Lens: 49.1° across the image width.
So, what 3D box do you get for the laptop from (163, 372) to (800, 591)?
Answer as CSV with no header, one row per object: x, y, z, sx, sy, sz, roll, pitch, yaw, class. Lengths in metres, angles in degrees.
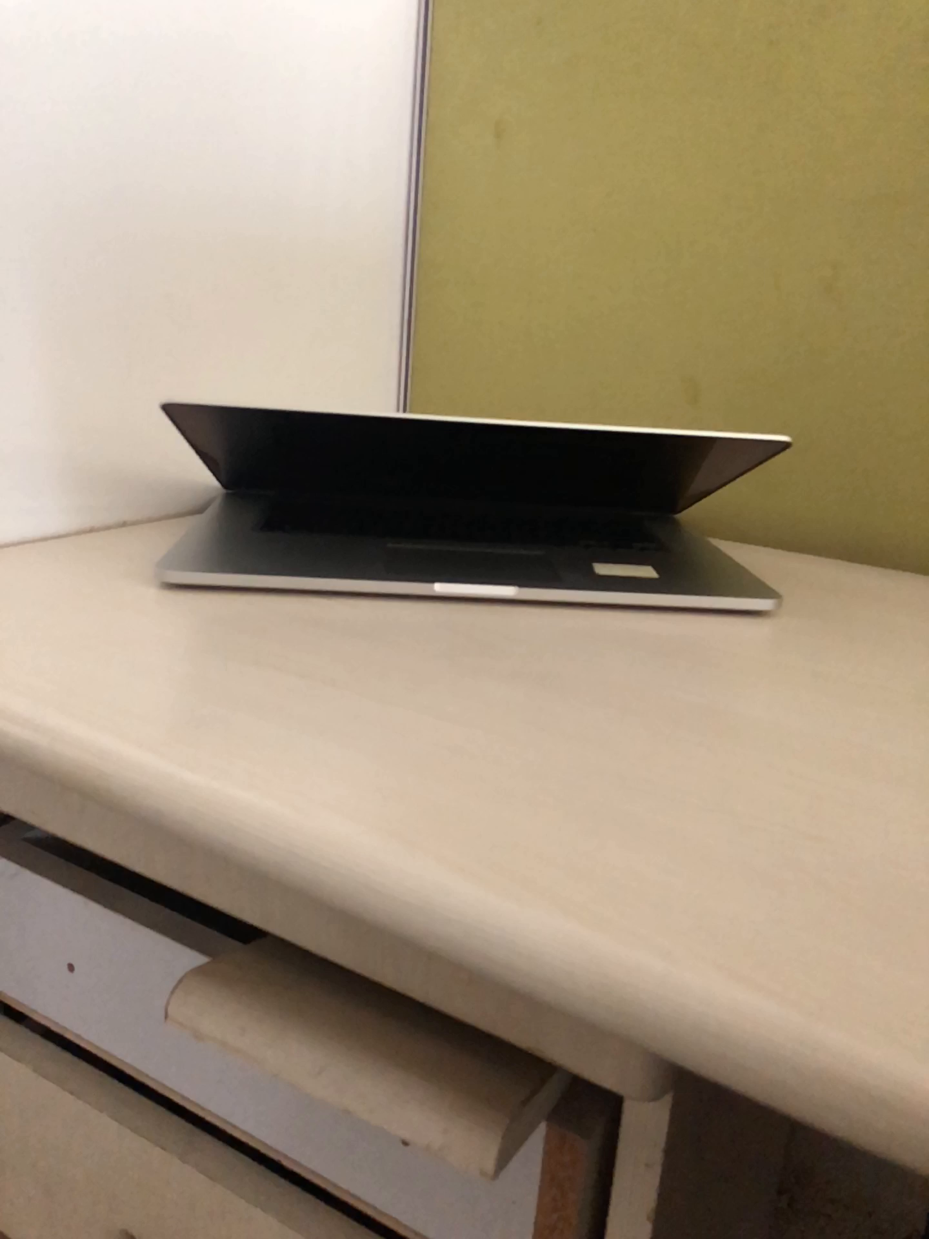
0.003,-0.101,0.672,0.343,0.083,0.244,3,17,-5,laptop
